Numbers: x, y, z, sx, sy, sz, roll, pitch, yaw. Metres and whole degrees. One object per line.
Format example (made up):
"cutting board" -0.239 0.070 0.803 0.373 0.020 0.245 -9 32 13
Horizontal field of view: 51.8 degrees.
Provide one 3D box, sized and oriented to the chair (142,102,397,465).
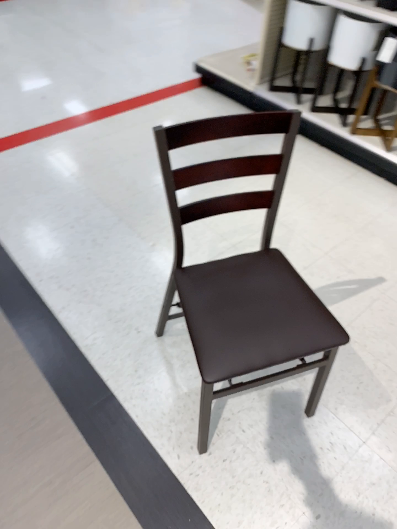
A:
"chair" 0.139 0.086 1.146 0.440 0.826 0.522 -12 48 -14
